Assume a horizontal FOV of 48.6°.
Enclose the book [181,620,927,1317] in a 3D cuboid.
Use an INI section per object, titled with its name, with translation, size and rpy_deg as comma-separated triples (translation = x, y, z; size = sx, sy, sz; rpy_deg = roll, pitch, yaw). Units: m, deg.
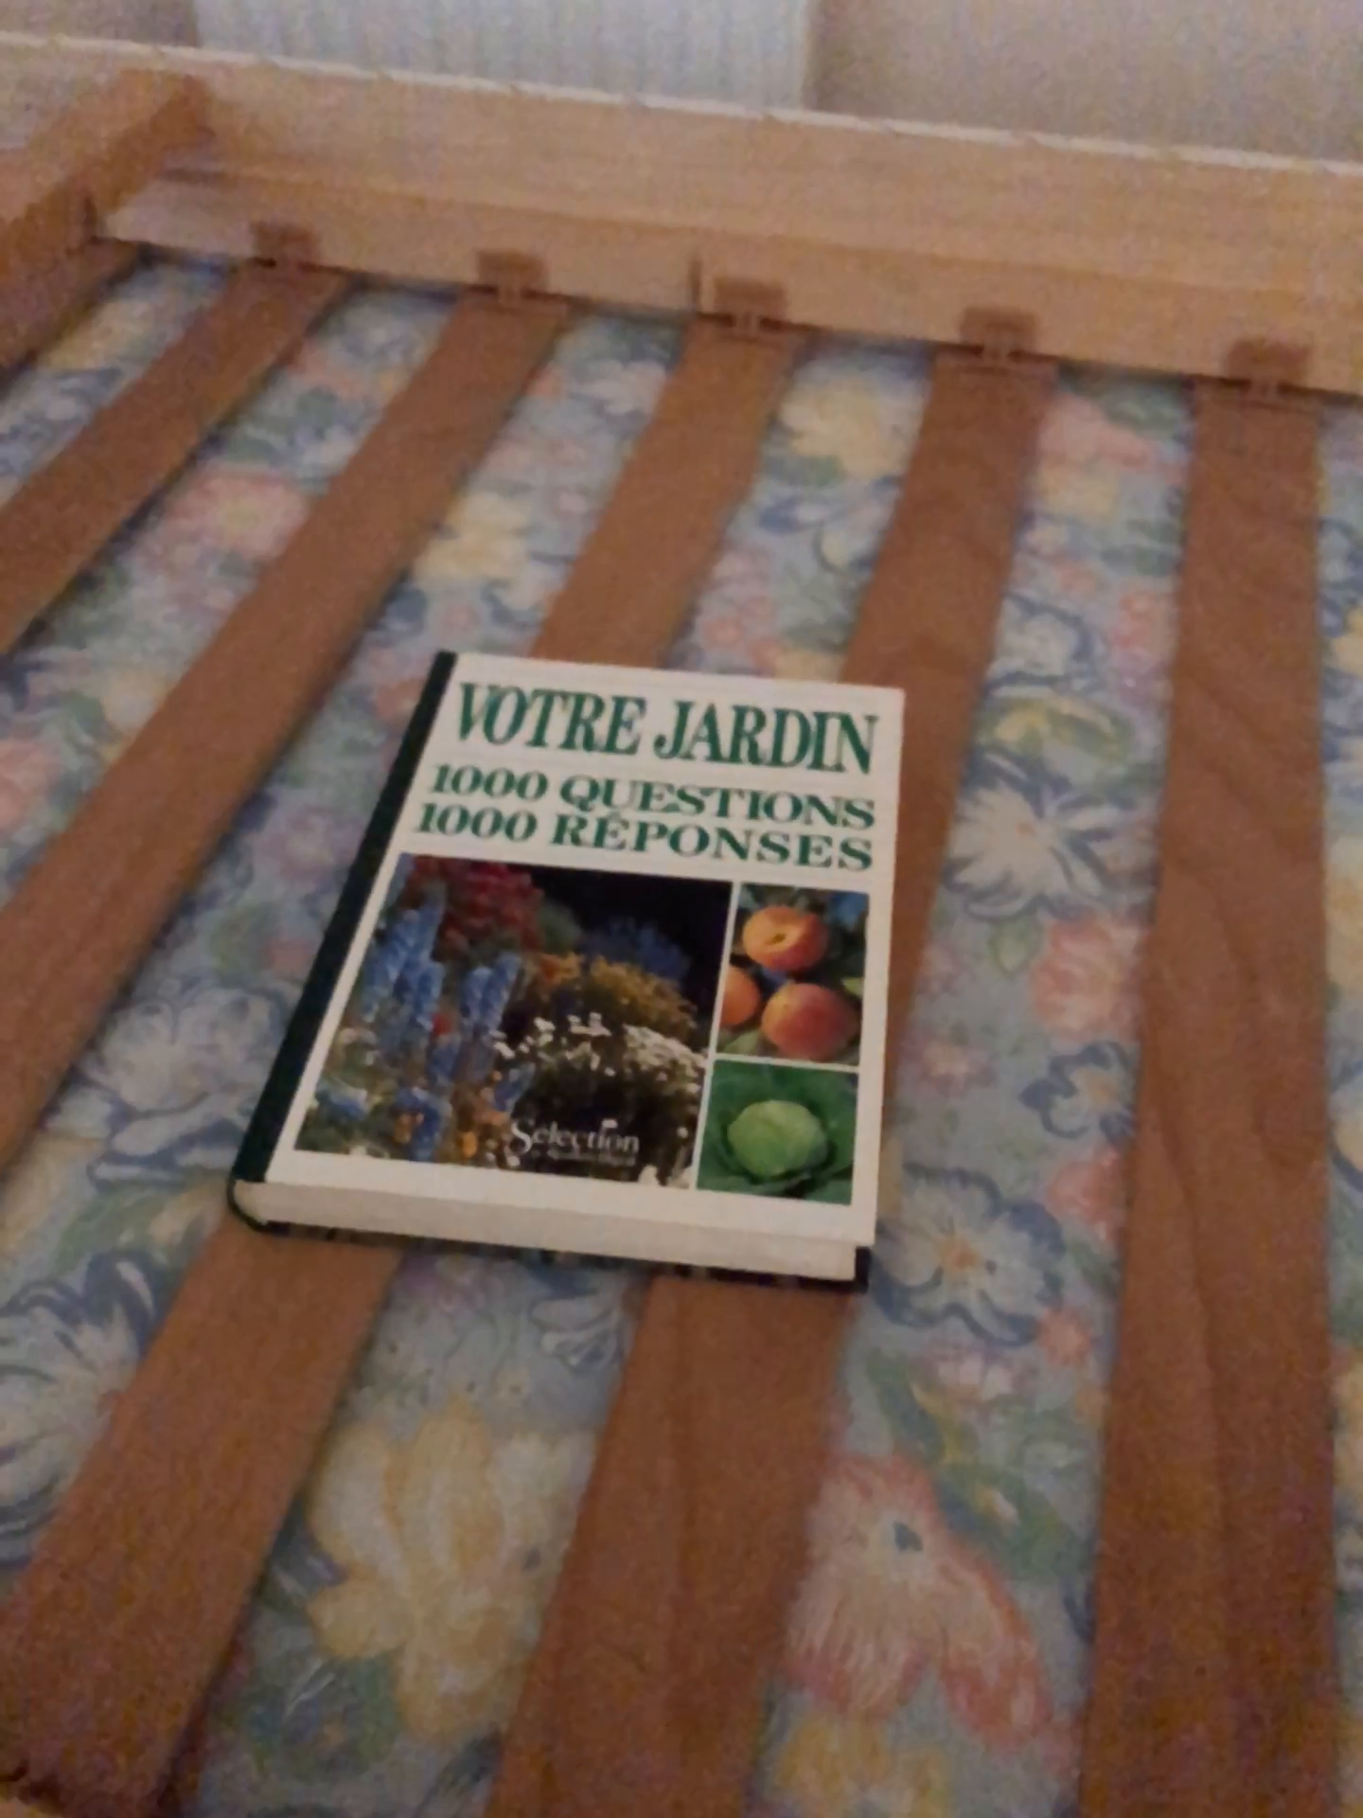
[book]
translation = -0.026, 0.003, 0.561
size = 0.220, 0.050, 0.272
rpy_deg = 5, 48, 6
